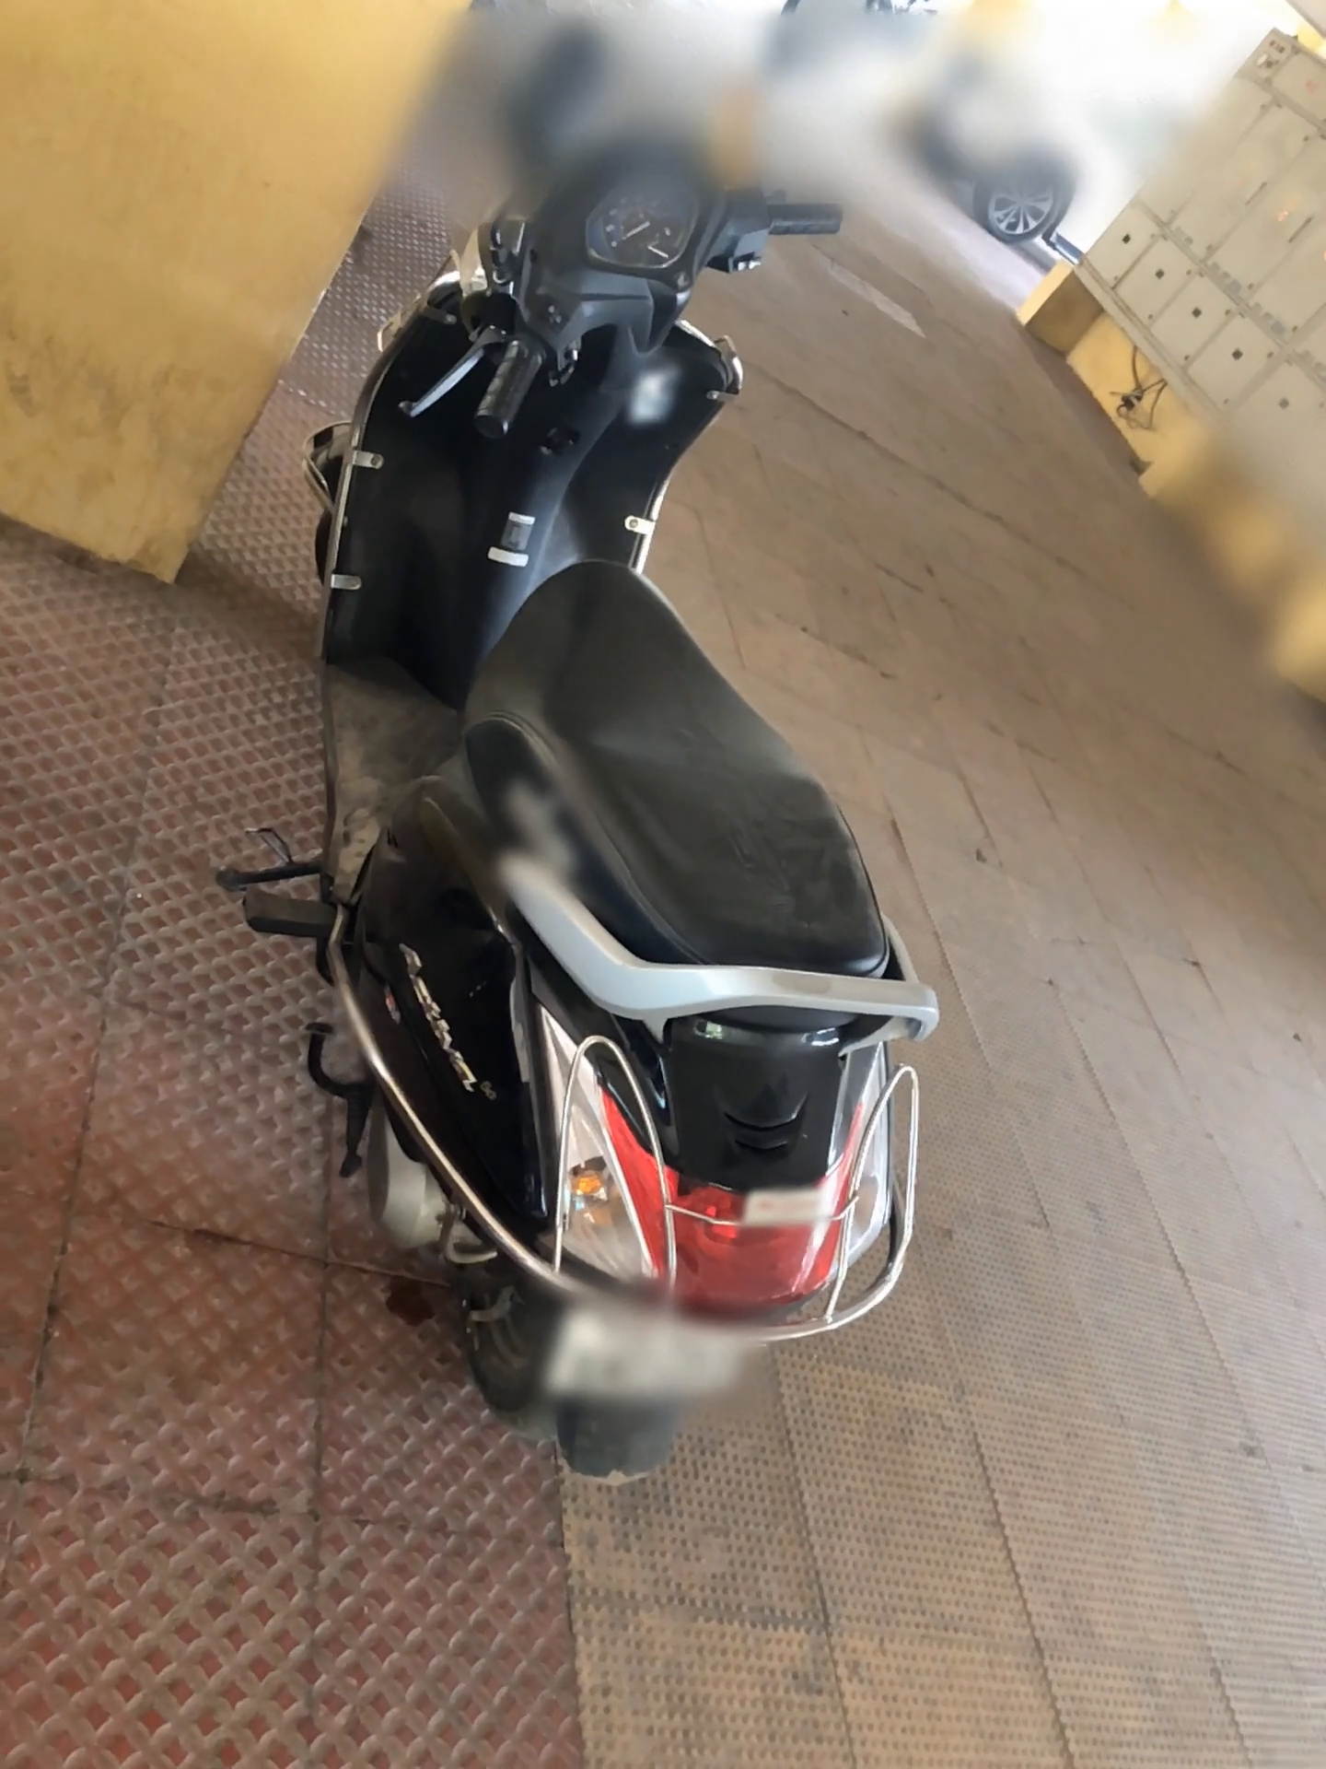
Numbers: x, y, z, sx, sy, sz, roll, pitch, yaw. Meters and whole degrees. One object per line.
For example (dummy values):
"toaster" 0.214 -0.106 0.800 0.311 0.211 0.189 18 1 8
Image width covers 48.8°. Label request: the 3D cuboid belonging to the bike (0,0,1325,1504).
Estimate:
"bike" -0.234 -0.290 1.695 0.609 1.173 1.444 11 45 -40
